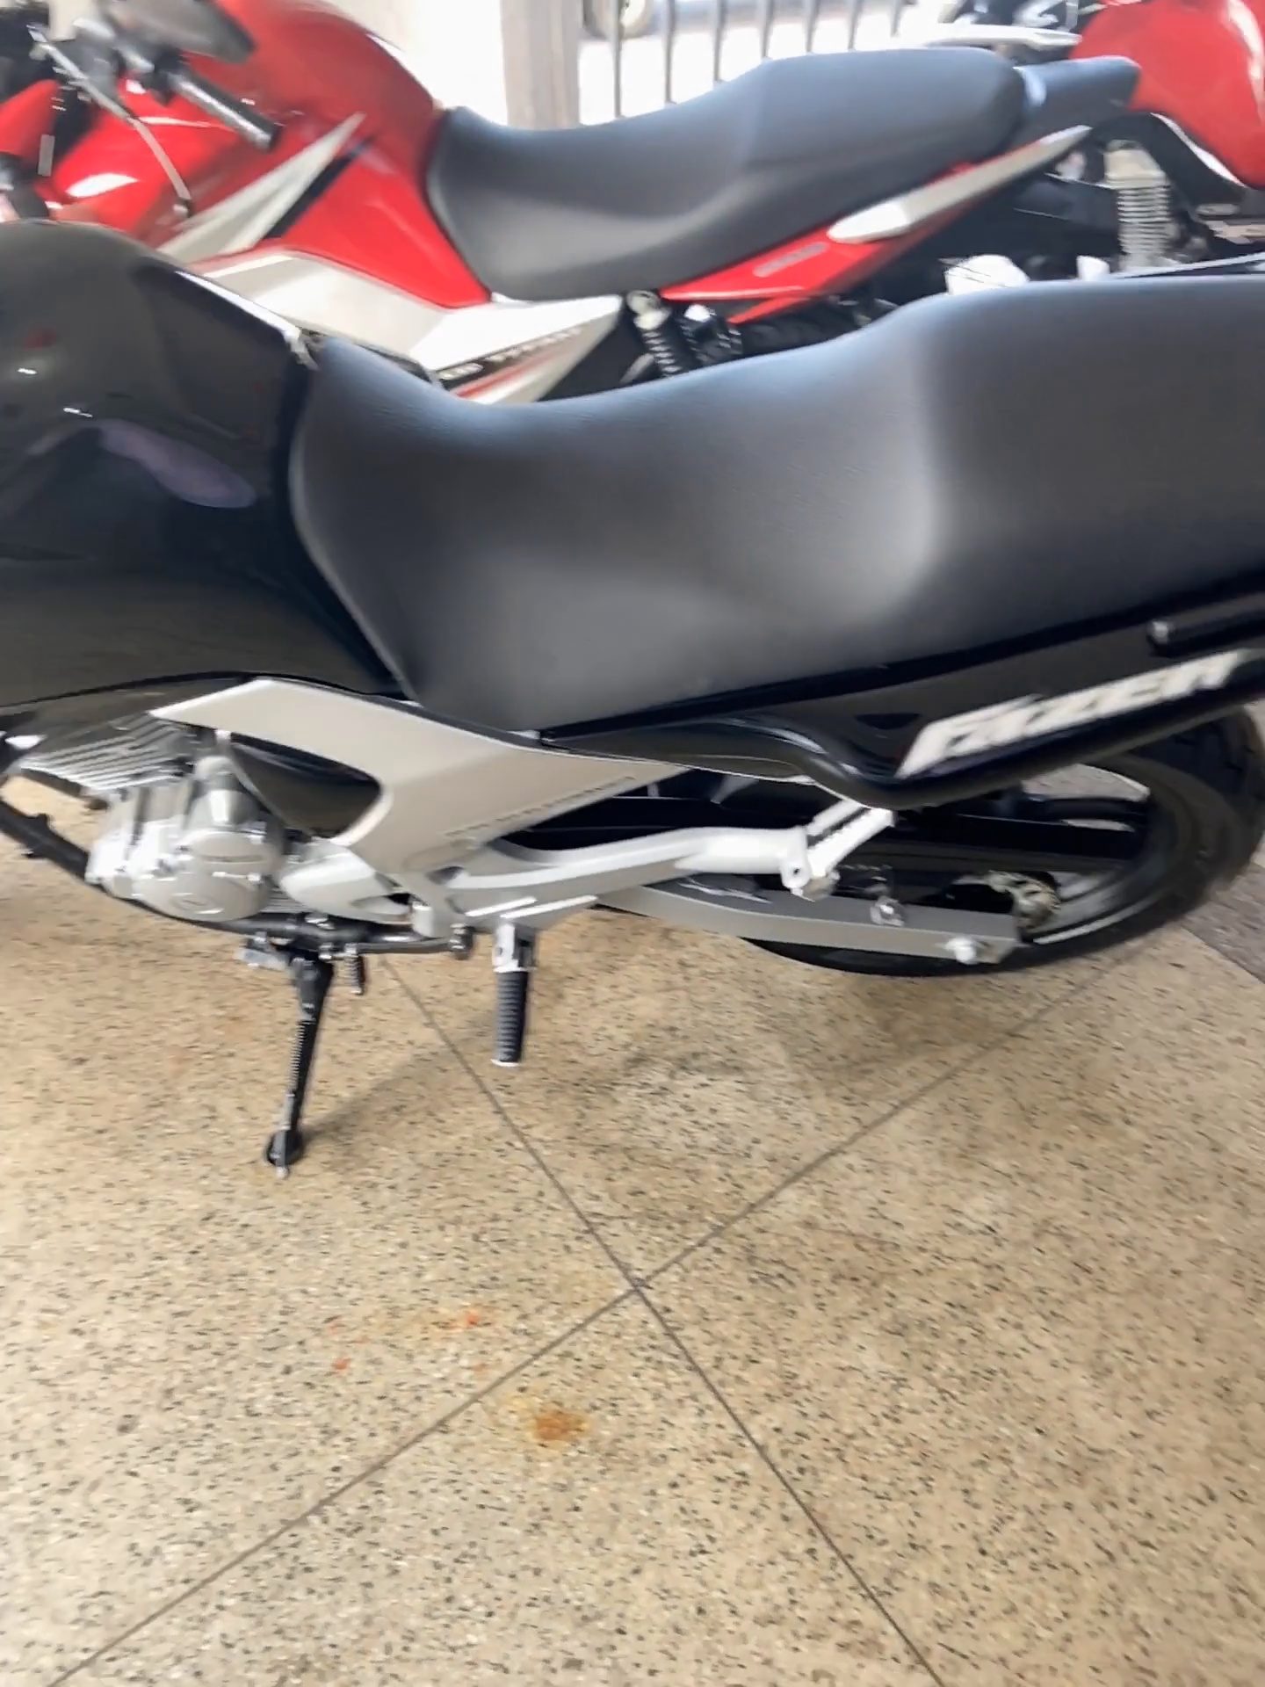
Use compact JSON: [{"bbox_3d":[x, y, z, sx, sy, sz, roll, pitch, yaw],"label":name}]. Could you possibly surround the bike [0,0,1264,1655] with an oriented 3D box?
[{"bbox_3d":[-0.248,-0.146,1.215,1.878,1.511,0.848,-6,41,-9],"label":"bike"}]
